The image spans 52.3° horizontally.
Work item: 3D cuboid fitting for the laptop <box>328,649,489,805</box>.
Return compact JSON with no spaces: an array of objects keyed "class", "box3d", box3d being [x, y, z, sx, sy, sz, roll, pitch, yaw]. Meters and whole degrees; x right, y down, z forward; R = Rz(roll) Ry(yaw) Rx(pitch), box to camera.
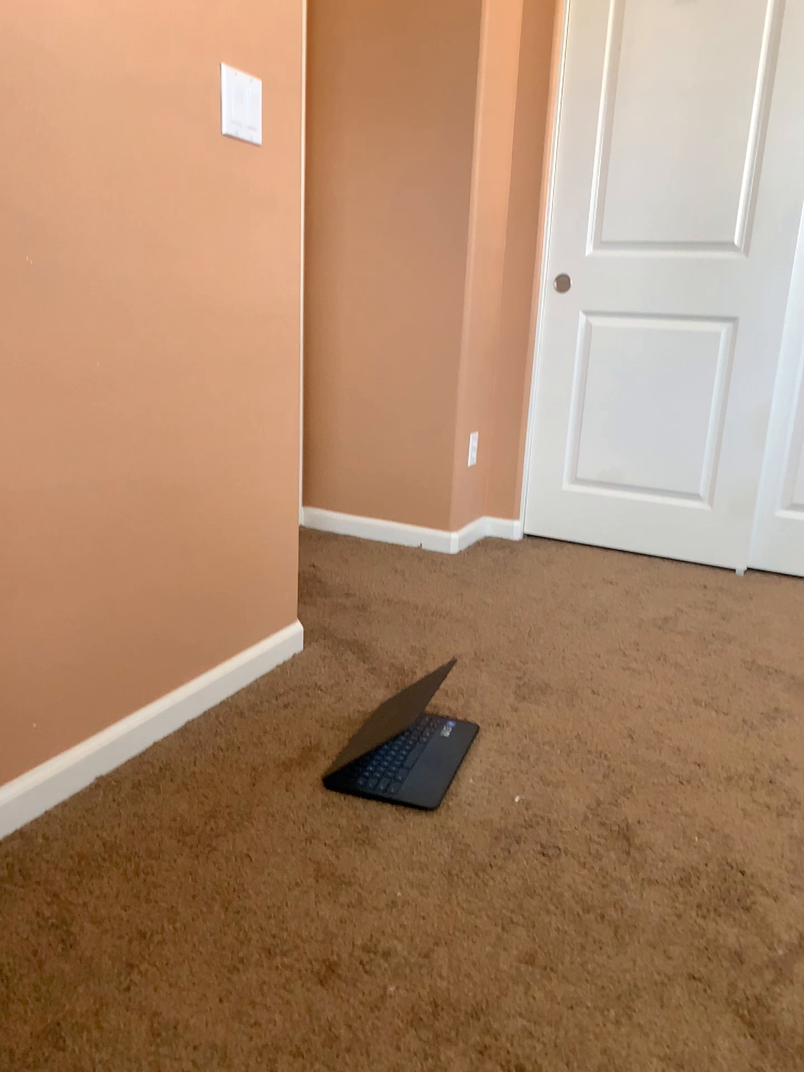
[{"class":"laptop","box3d":[0.020,0.325,1.455,0.194,0.127,0.290,6,16,18]}]
